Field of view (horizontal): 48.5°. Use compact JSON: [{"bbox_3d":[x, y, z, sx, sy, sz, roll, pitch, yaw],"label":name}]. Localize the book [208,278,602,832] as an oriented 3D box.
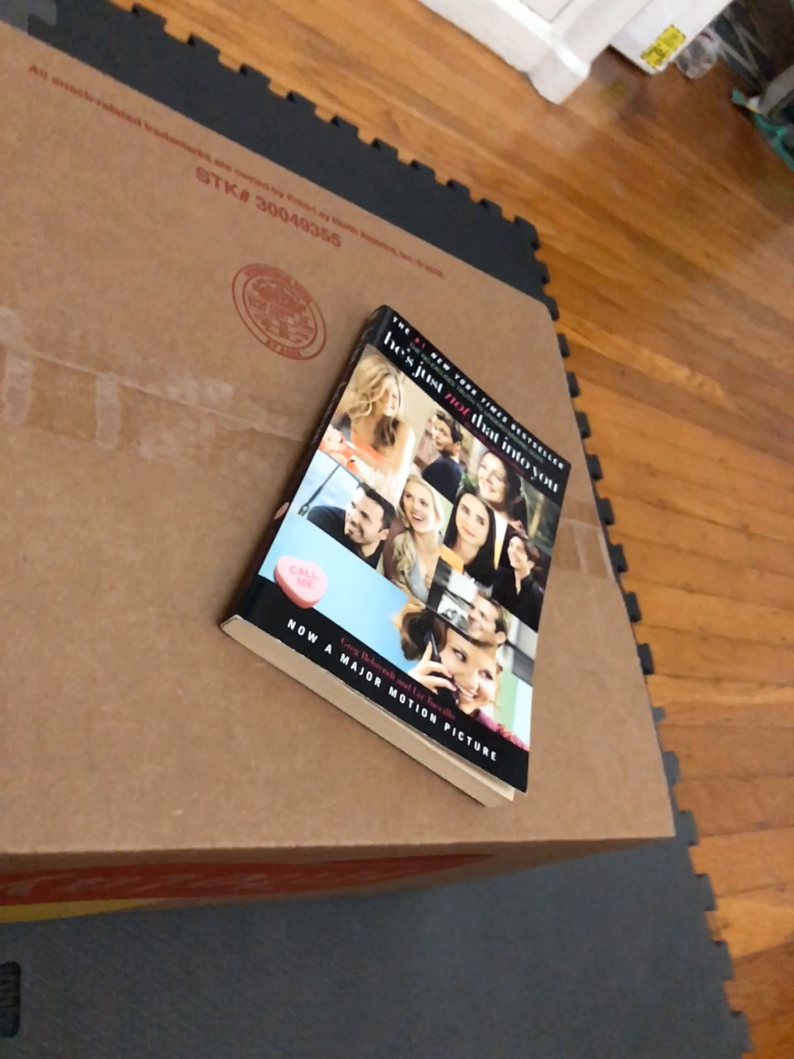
[{"bbox_3d":[0.024,0.001,0.400,0.160,0.020,0.211,37,46,-21],"label":"book"}]
